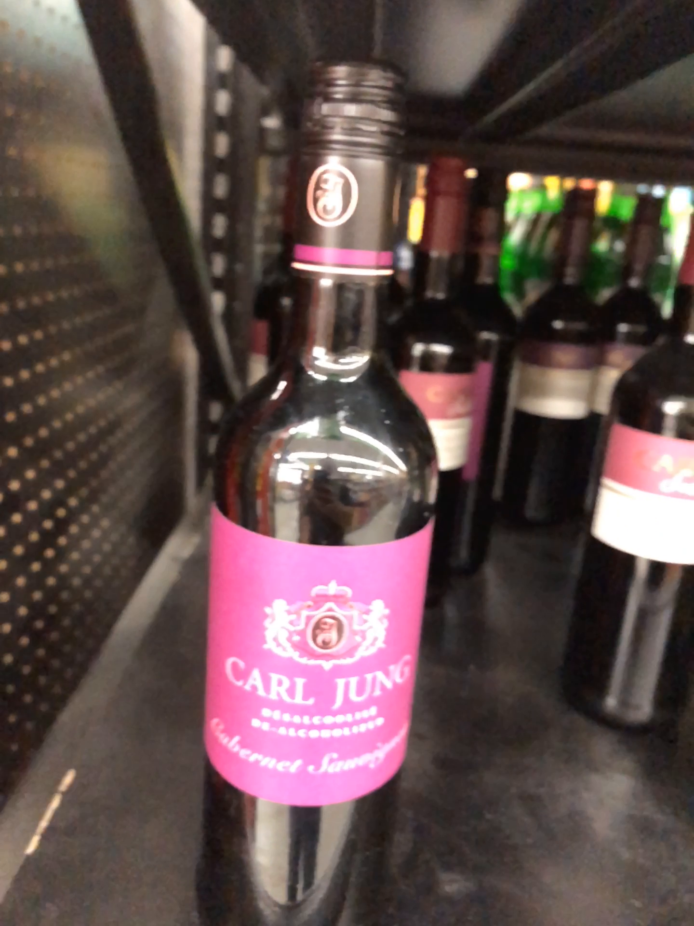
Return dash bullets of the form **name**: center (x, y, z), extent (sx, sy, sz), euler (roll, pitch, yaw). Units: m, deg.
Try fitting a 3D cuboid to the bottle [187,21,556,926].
- **bottle**: center (-0.007, 0.031, 0.254), extent (0.080, 0.288, 0.080), euler (4, 17, -1)
